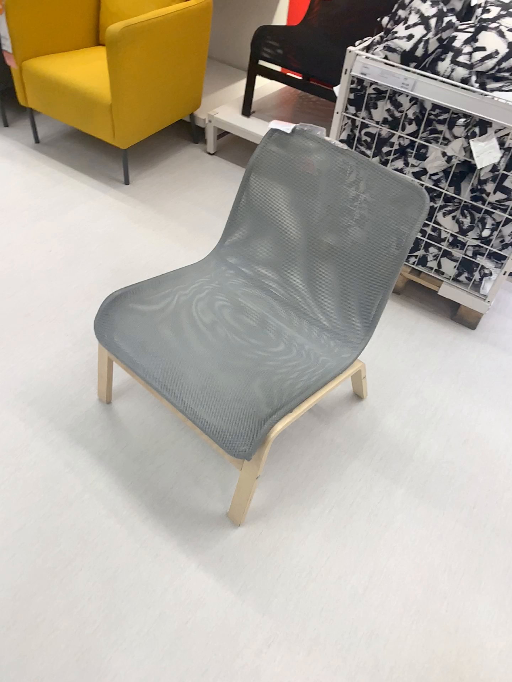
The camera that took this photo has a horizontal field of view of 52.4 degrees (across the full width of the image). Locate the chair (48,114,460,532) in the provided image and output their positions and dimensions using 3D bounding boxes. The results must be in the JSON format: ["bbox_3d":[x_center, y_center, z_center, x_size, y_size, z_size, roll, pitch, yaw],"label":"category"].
[{"bbox_3d":[-0.006,-0.087,1.470,0.631,0.697,0.751,36,52,24],"label":"chair"}]
